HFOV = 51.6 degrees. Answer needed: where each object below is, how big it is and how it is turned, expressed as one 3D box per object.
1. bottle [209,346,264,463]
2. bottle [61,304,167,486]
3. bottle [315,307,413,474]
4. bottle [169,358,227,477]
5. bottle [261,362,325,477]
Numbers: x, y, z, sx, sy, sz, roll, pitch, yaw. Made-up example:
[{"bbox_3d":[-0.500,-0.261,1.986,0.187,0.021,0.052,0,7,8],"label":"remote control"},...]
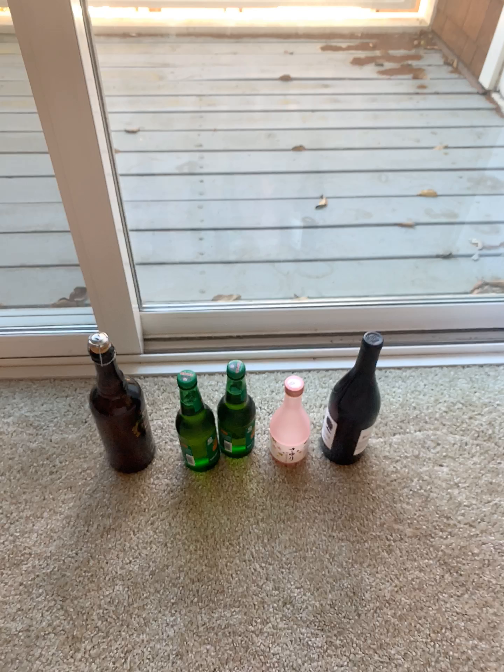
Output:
[{"bbox_3d":[-0.026,0.110,0.810,0.070,0.189,0.080,-4,47,-6],"label":"bottle"},{"bbox_3d":[-0.194,0.097,0.763,0.090,0.279,0.101,-13,49,-14],"label":"bottle"},{"bbox_3d":[0.165,0.092,0.796,0.090,0.249,0.110,13,49,10],"label":"bottle"},{"bbox_3d":[-0.080,0.129,0.792,0.070,0.189,0.080,-7,48,-8],"label":"bottle"},{"bbox_3d":[0.060,0.132,0.800,0.070,0.169,0.080,13,49,10],"label":"bottle"}]
